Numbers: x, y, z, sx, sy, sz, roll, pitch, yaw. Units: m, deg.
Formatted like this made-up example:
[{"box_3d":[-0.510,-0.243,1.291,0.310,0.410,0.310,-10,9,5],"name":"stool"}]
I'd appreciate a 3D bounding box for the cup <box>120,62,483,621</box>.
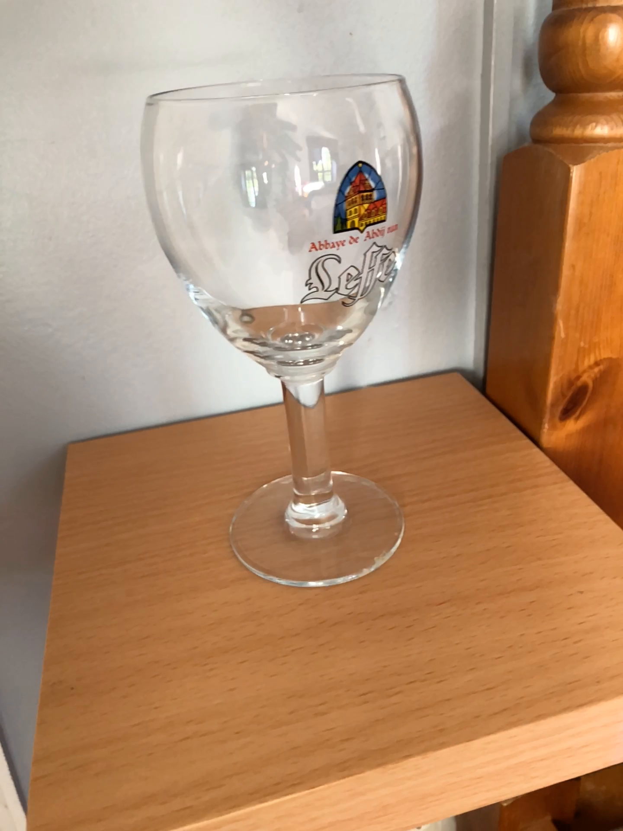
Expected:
[{"box_3d":[-0.004,-0.036,0.283,0.096,0.185,0.100,-3,24,1],"name":"cup"}]
